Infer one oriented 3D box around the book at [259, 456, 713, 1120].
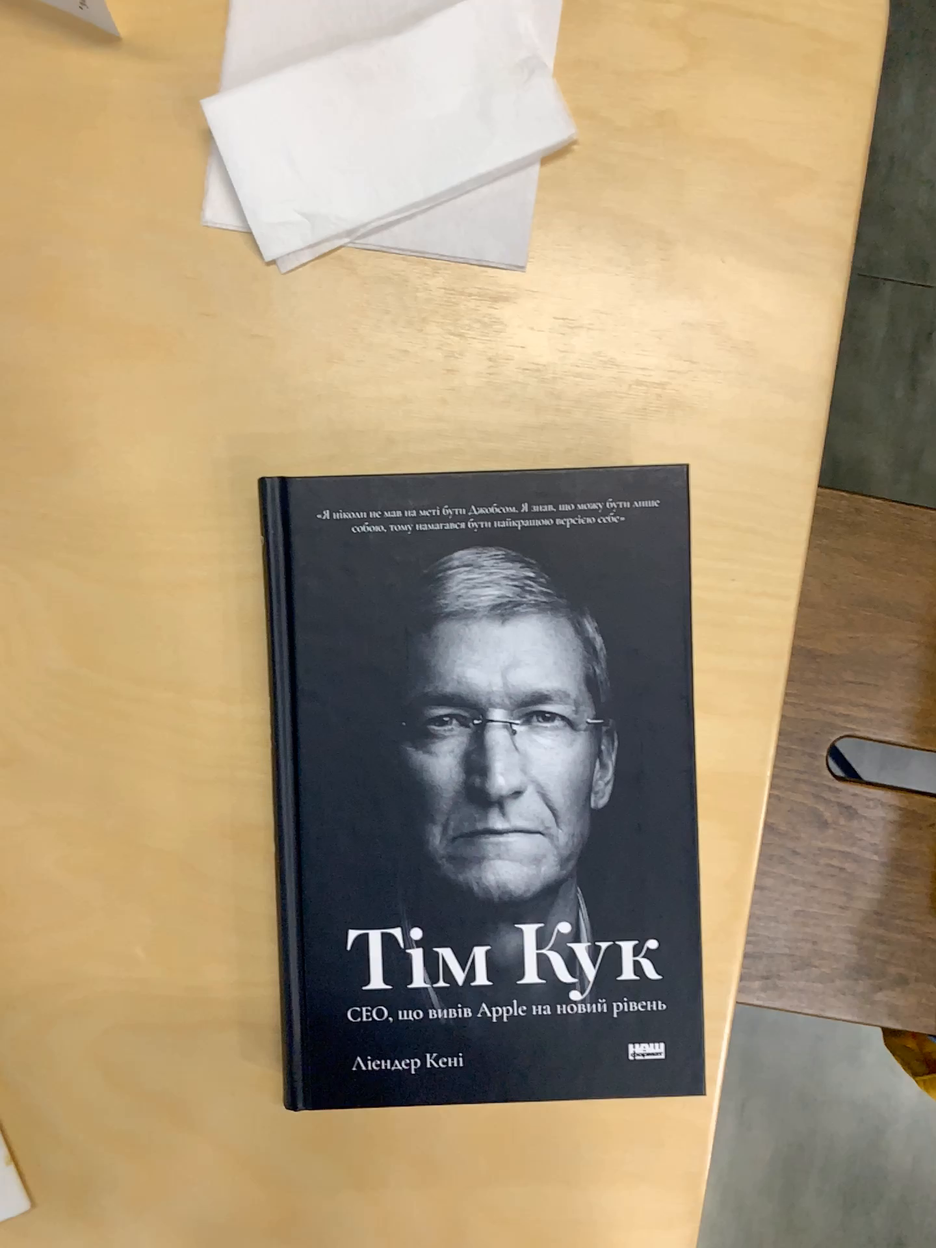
[{"bbox_3d":[0.006,0.055,0.337,0.144,0.034,0.217,-2,90,0],"label":"book"}]
